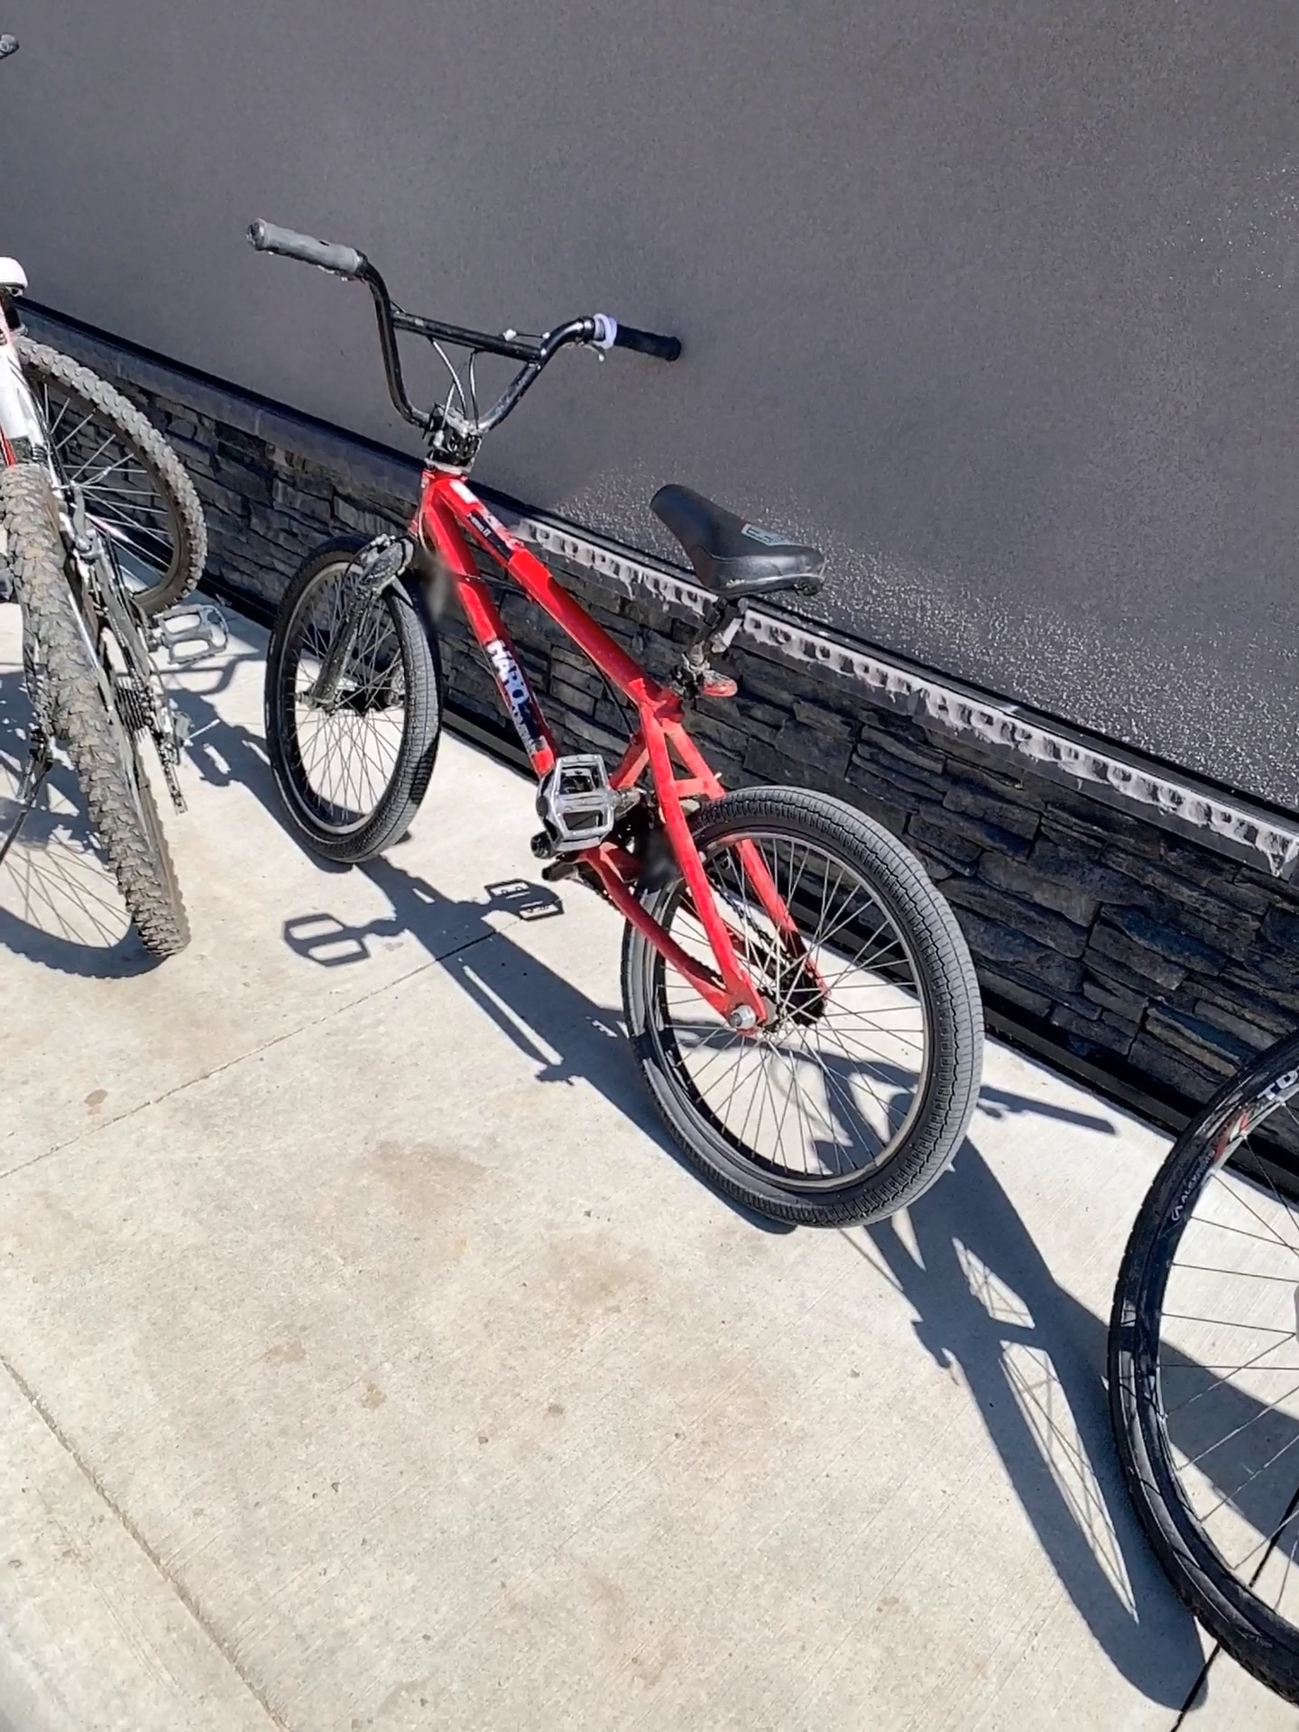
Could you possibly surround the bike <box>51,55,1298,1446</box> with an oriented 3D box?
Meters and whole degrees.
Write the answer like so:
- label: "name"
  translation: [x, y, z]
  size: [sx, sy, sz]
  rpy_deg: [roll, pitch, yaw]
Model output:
- label: "bike"
  translation: [-0.033, -0.294, 1.635]
  size: [0.775, 0.908, 1.316]
  rpy_deg: [-19, 44, -39]
